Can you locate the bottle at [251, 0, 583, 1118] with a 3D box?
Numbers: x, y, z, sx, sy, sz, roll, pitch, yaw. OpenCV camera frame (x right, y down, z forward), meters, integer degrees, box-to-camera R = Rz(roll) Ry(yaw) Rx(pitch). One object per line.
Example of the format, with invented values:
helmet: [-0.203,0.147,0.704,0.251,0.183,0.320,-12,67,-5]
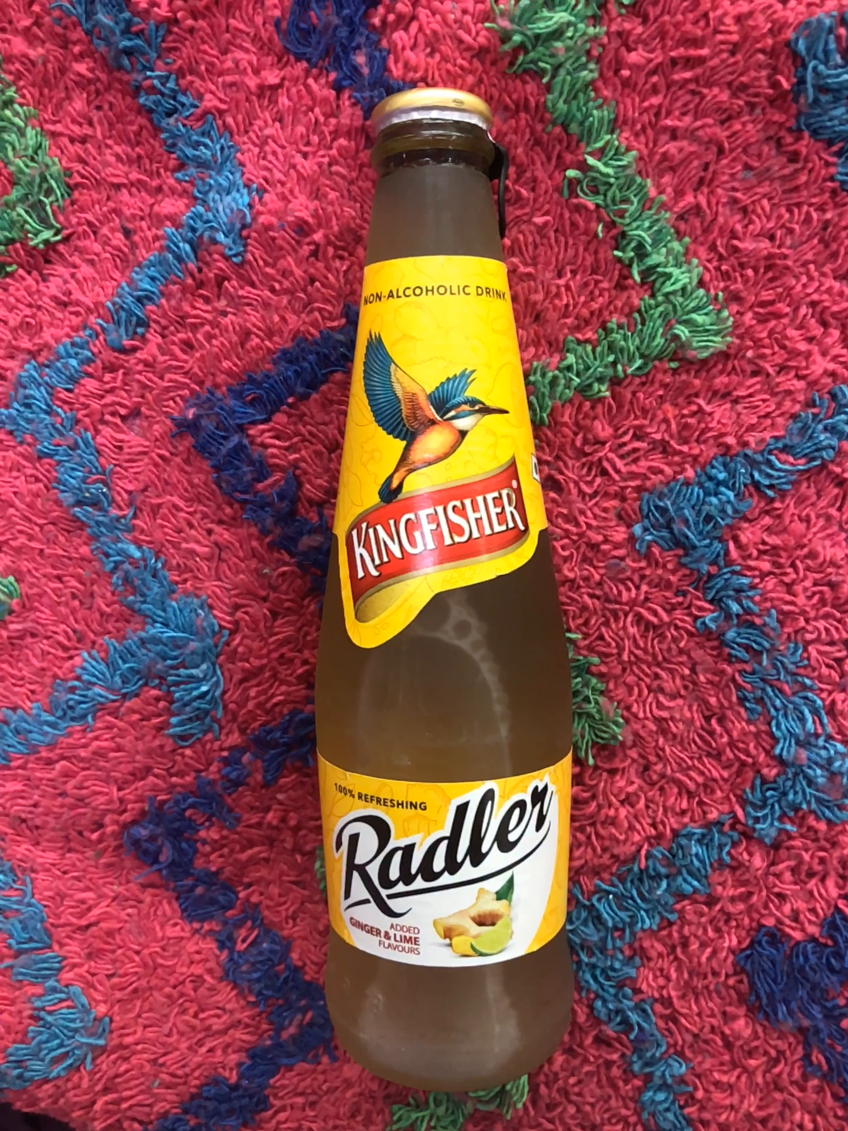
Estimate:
bottle: [0.004,0.000,0.209,0.060,0.060,0.210,0,95,10]
